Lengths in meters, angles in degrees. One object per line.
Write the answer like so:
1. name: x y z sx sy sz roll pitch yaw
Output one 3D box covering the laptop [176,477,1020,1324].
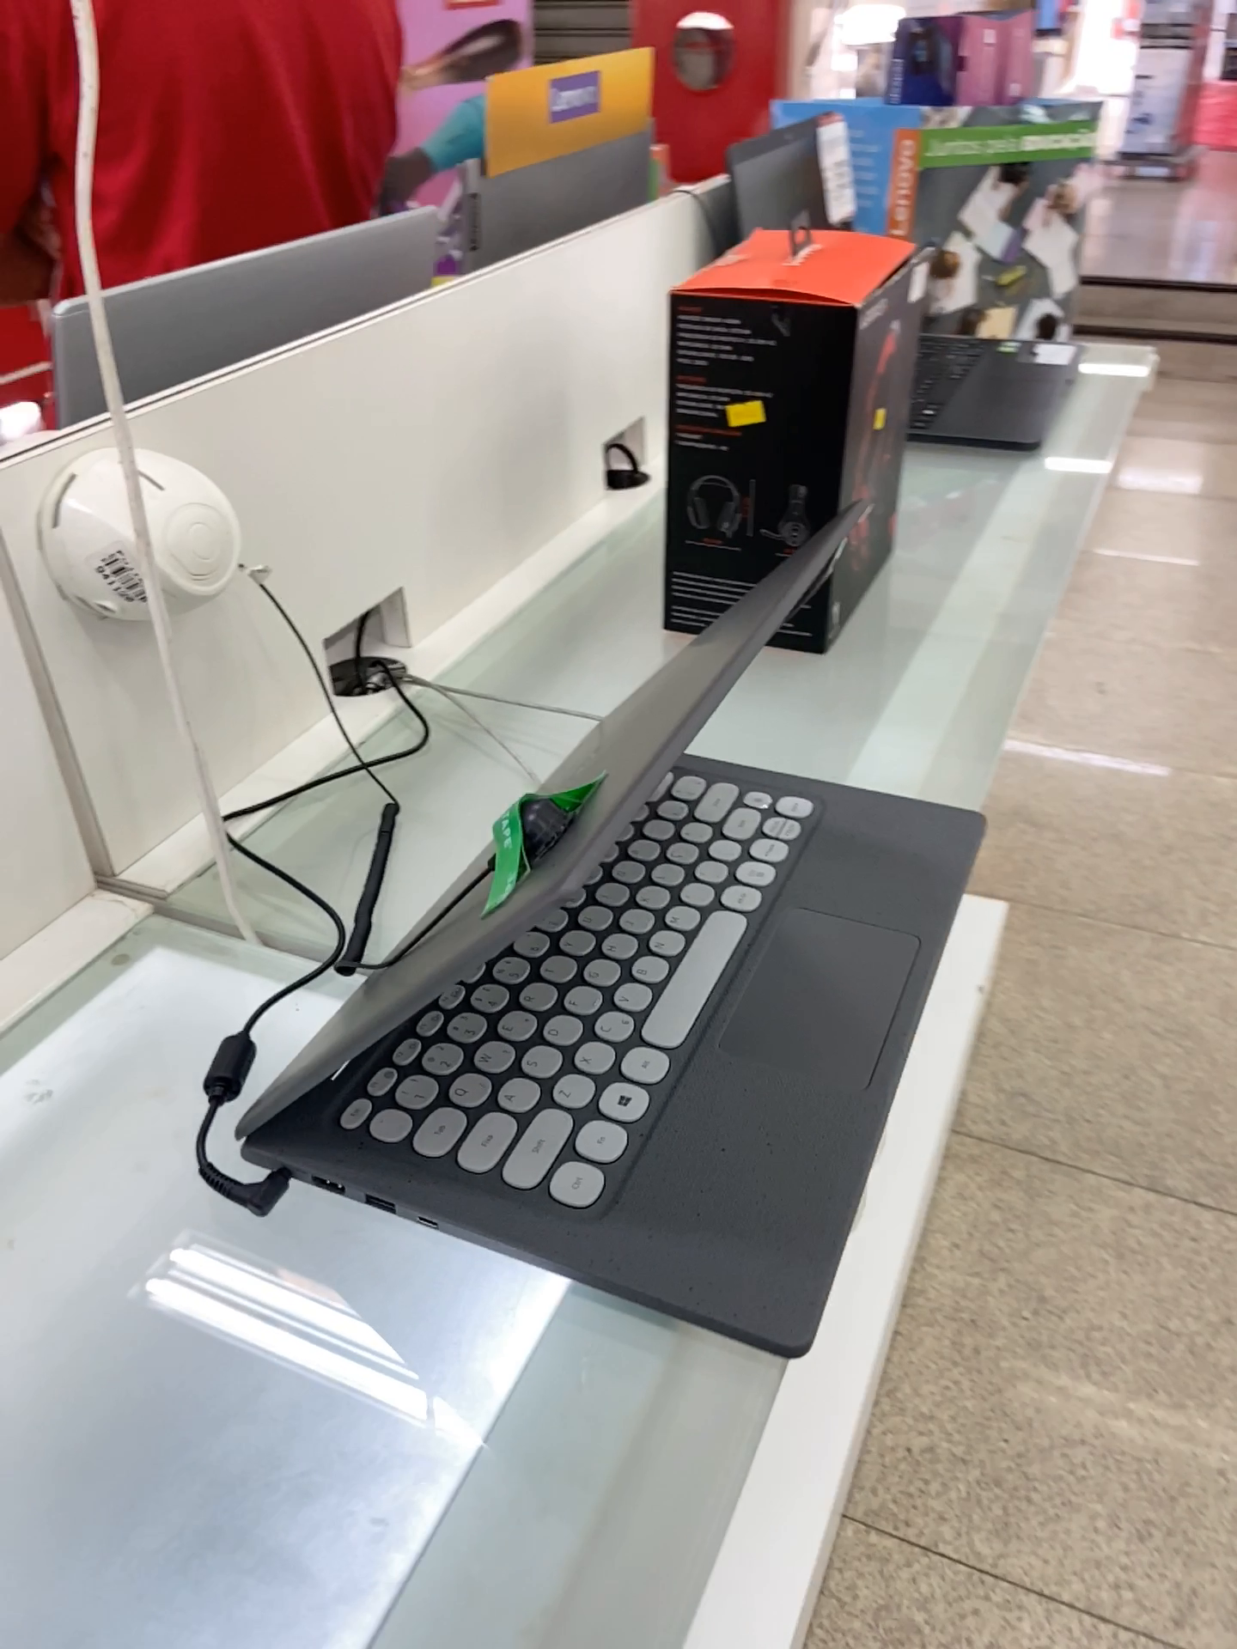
1. laptop: 0.022 -0.007 0.516 0.207 0.153 0.313 12 35 20
